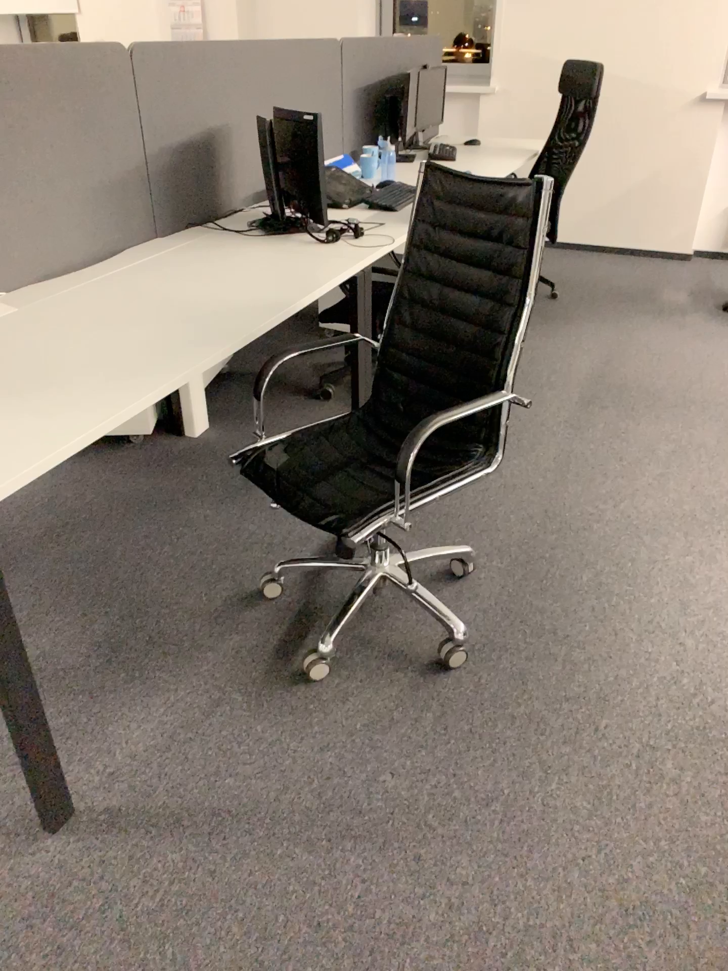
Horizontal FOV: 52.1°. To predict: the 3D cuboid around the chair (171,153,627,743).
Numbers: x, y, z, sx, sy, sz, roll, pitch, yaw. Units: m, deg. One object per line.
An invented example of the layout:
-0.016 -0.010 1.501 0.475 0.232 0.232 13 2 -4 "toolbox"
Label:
0.060 -0.134 1.825 0.692 1.133 0.642 -21 37 -31 "chair"
